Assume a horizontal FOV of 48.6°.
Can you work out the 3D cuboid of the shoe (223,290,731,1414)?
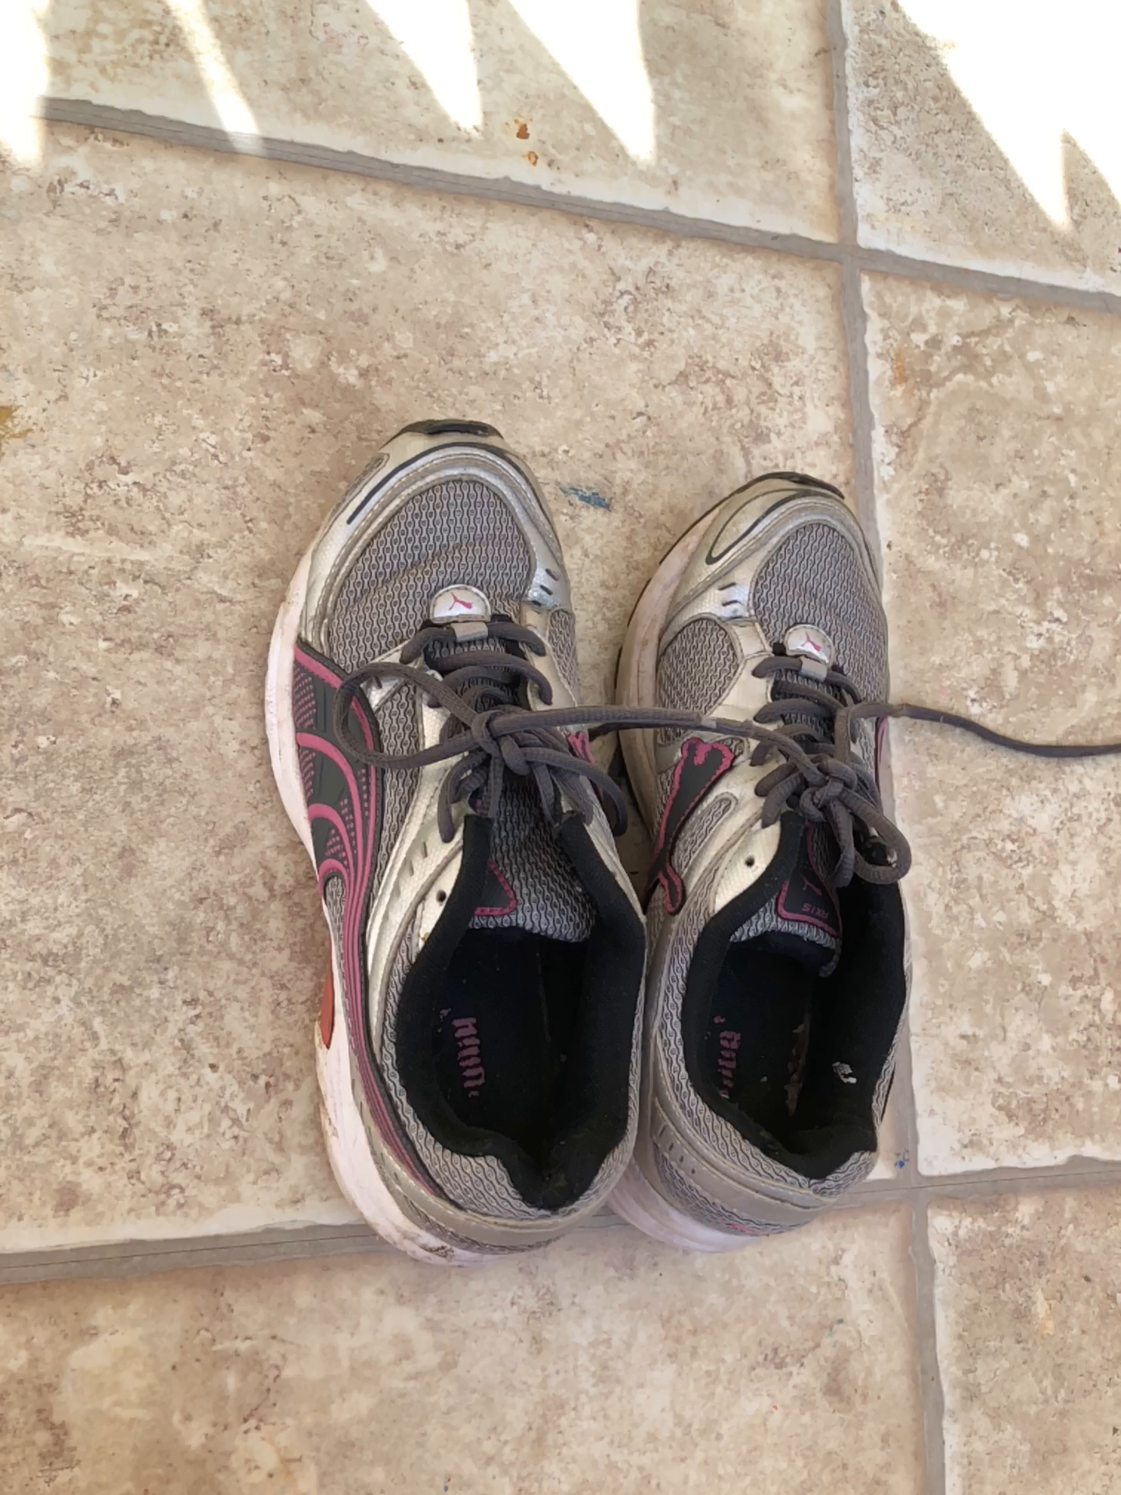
[{"bbox_3d":[-0.040,0.026,0.380,0.110,0.140,0.270,-1,80,-18],"label":"shoe"}]

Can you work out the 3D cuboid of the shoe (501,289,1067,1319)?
[{"bbox_3d":[0.068,0.021,0.405,0.110,0.140,0.270,11,76,-15],"label":"shoe"}]
